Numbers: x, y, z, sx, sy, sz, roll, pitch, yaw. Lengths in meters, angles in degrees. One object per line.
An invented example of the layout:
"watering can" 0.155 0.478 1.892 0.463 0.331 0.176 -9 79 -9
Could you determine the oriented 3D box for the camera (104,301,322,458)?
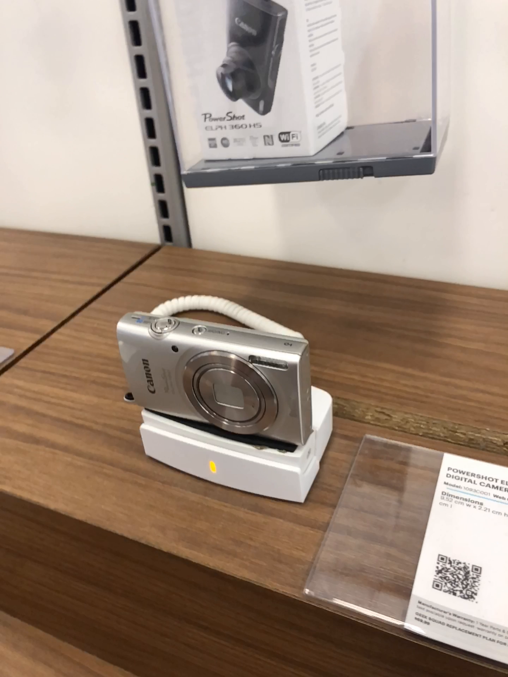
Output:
"camera" -0.019 0.019 0.279 0.100 0.060 0.020 10 41 23
